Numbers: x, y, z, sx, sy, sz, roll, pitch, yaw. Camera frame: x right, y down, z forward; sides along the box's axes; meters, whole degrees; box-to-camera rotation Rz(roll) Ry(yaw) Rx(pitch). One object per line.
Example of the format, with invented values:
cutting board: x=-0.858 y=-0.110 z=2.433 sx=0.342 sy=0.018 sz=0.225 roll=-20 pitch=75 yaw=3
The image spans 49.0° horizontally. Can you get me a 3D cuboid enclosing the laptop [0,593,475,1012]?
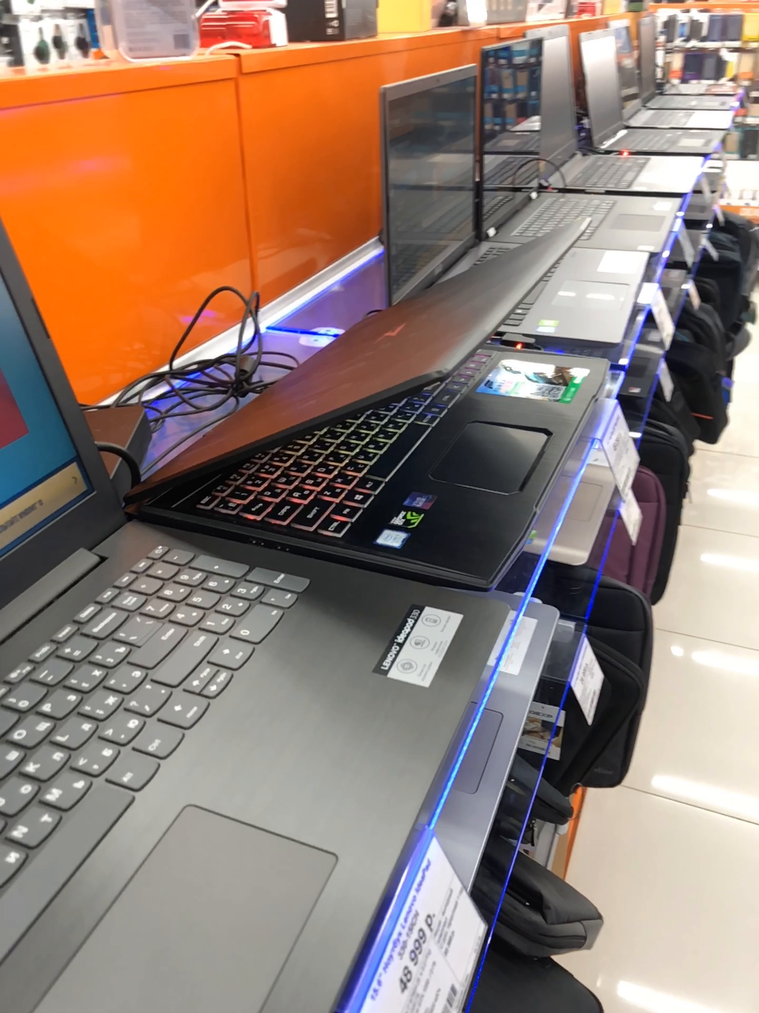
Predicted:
laptop: x=-0.146 y=0.290 z=0.397 sx=0.272 sy=0.270 sz=0.408 roll=10 pitch=31 yaw=20

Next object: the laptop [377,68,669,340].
laptop: x=0.175 y=-0.356 z=0.934 sx=0.230 sy=0.216 sz=0.353 roll=9 pitch=32 yaw=16

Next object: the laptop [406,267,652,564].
laptop: x=0.210 y=-0.144 z=1.129 sx=0.229 sy=0.240 sz=0.360 roll=12 pitch=33 yaw=19

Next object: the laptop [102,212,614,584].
laptop: x=0.019 y=-0.116 z=0.621 sx=0.243 sy=0.121 sz=0.366 roll=11 pitch=31 yaw=19

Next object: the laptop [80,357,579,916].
laptop: x=-0.006 y=0.072 z=0.770 sx=0.287 sy=0.256 sz=0.396 roll=12 pitch=32 yaw=19

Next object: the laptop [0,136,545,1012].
laptop: x=-0.149 y=0.009 z=0.300 sx=0.318 sy=0.228 sz=0.360 roll=10 pitch=31 yaw=19
